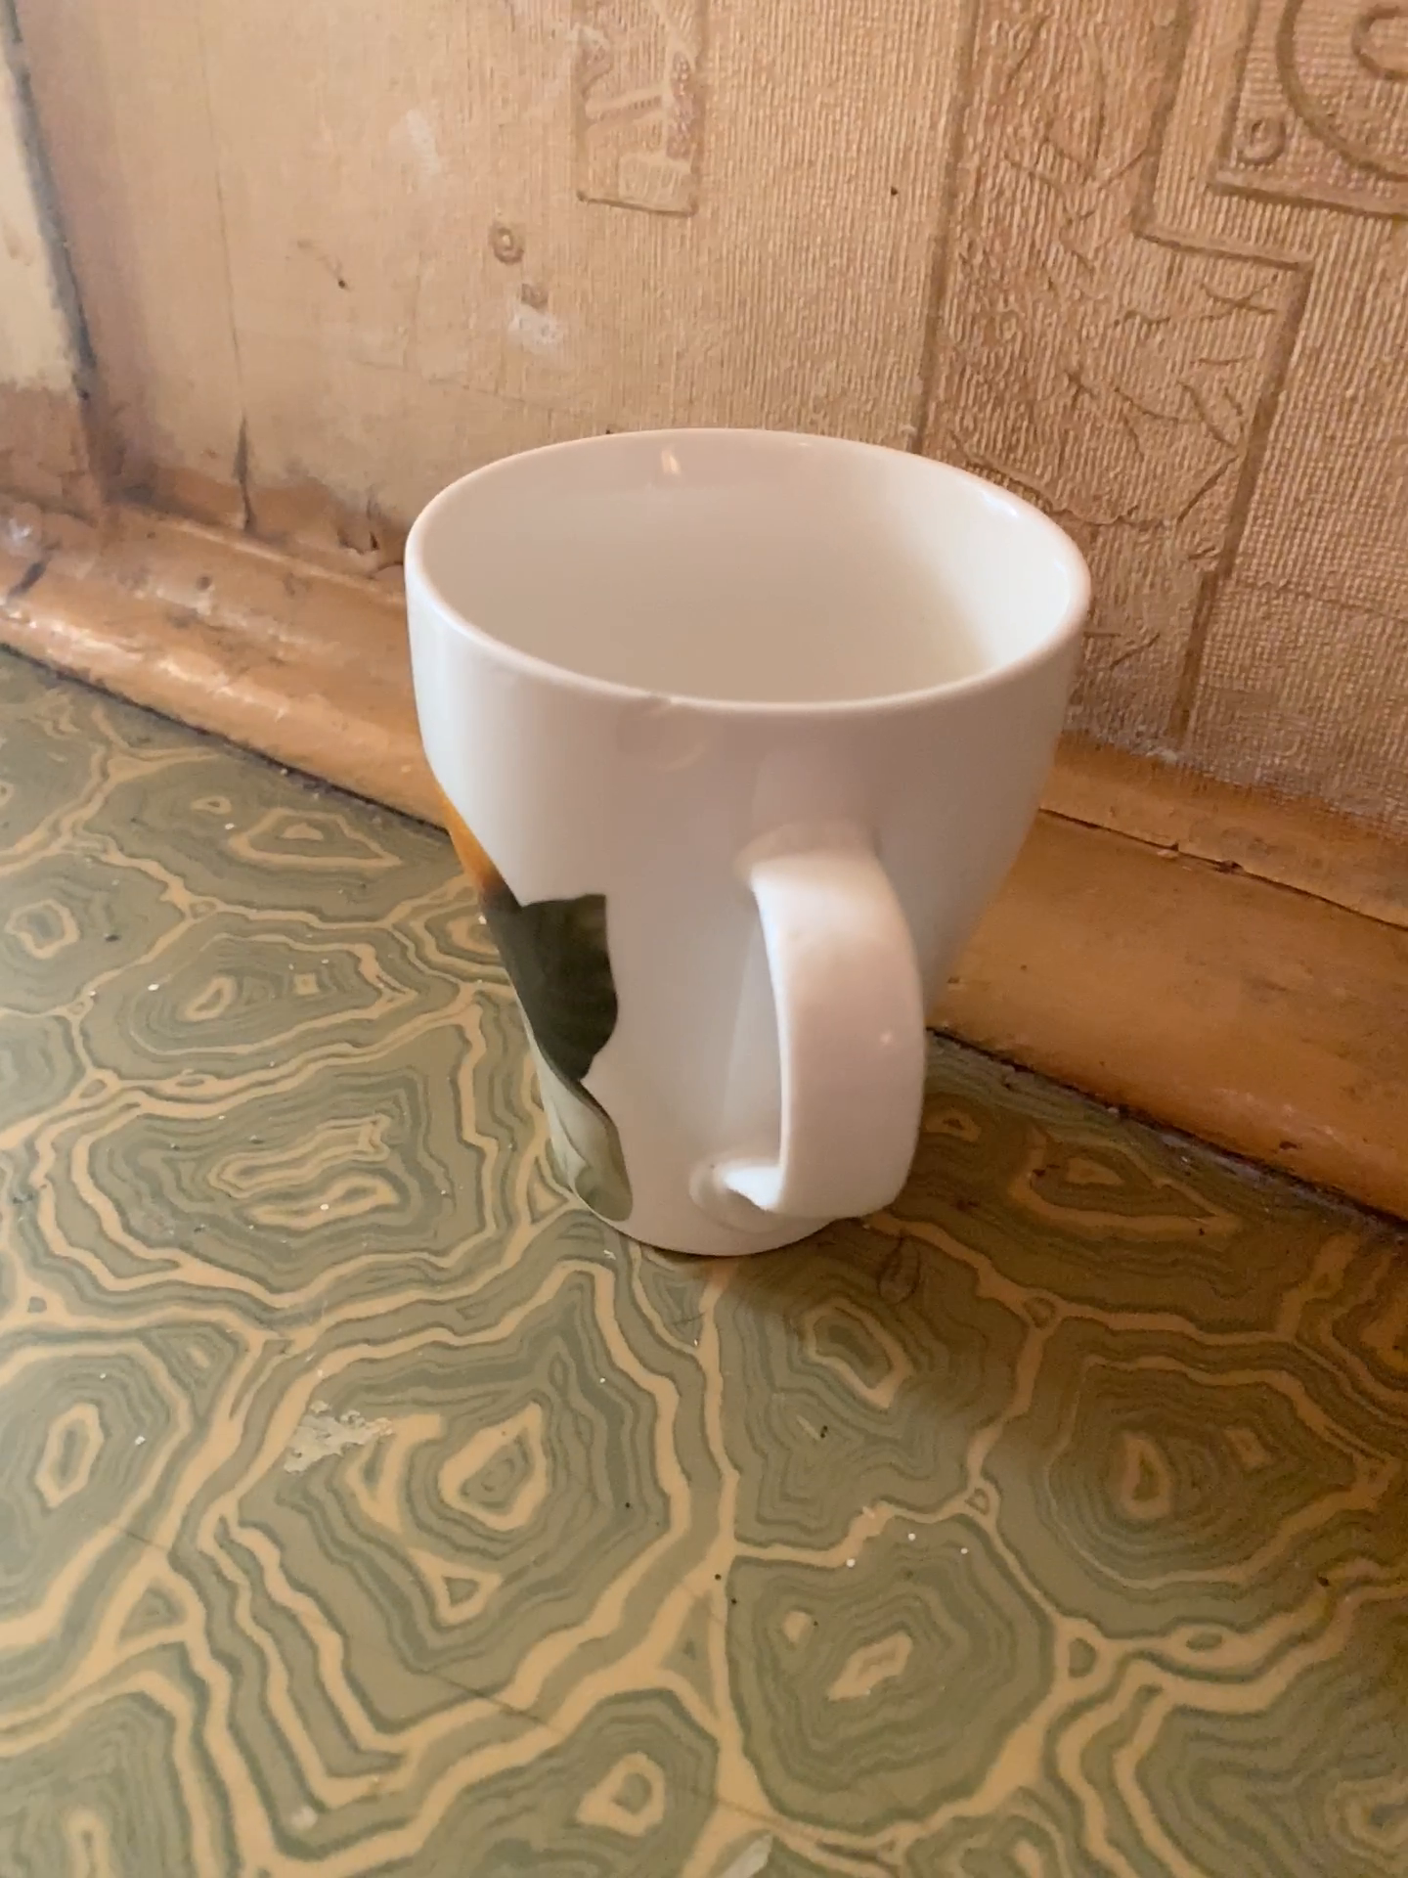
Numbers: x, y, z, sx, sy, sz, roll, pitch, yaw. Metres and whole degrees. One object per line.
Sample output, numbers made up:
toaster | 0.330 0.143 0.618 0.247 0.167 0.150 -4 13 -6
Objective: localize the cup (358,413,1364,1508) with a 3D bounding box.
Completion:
cup | 0.006 -0.007 0.215 0.094 0.099 0.119 -7 37 -13
